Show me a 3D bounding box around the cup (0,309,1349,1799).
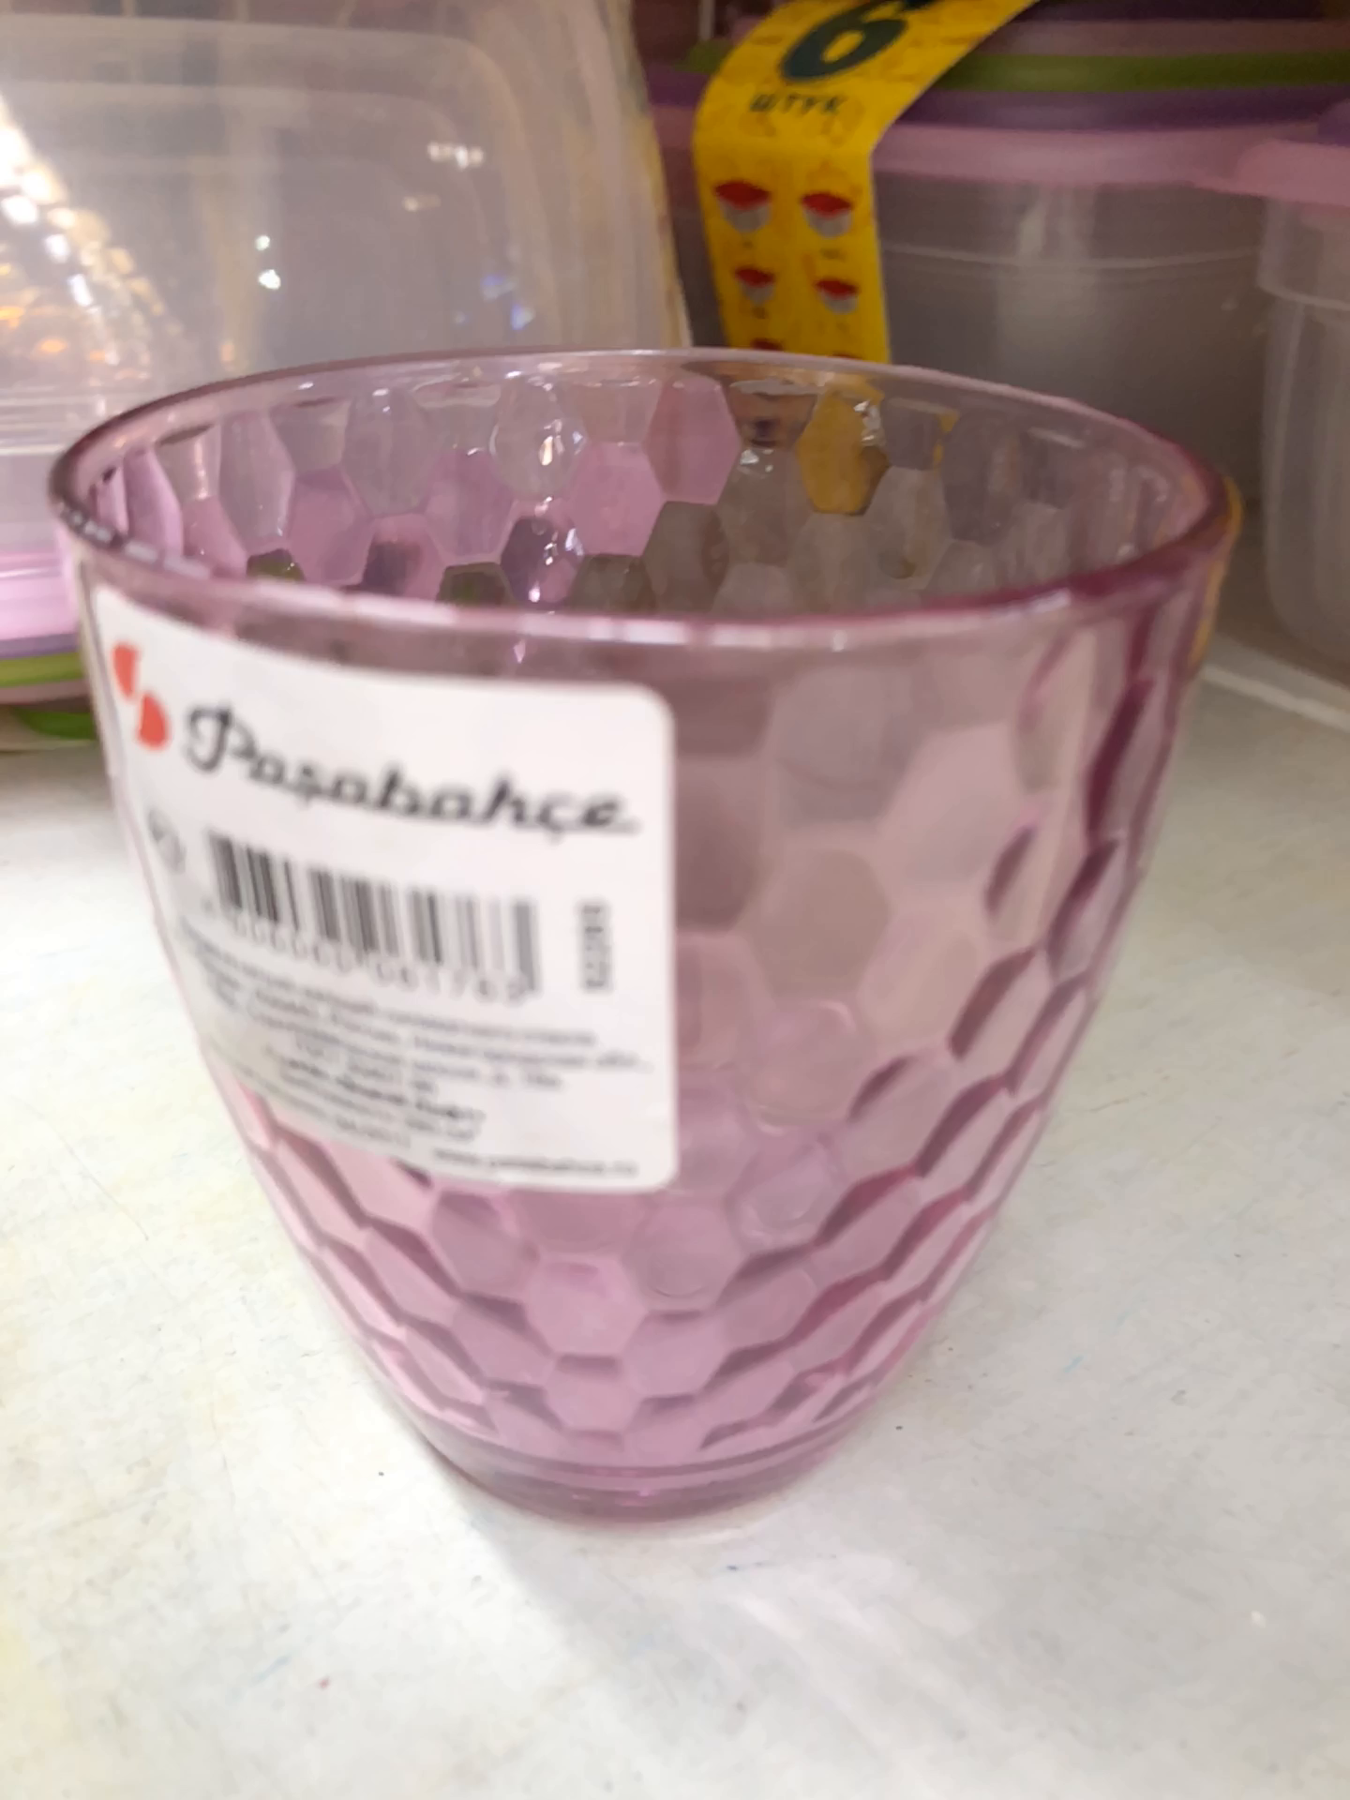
[{"bbox_3d":[-0.001,0.001,0.123,0.090,0.074,0.078,20,35,30],"label":"cup"}]
